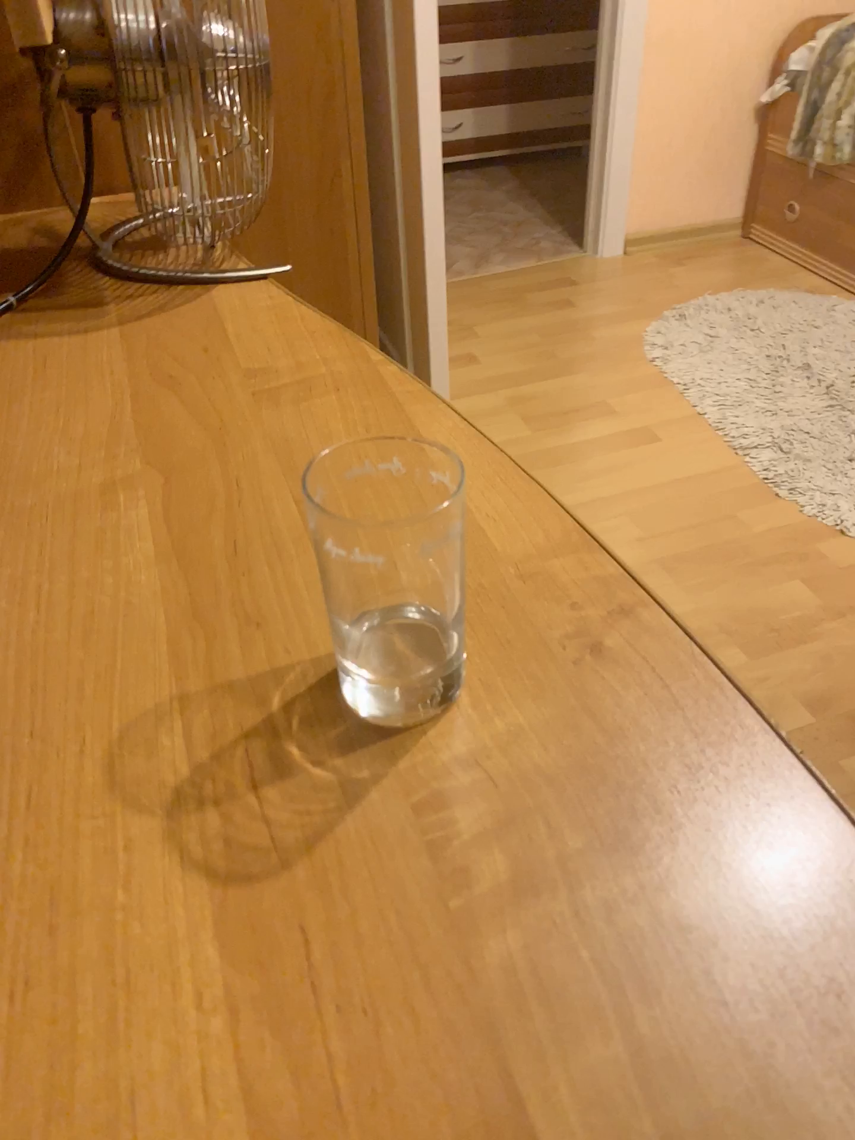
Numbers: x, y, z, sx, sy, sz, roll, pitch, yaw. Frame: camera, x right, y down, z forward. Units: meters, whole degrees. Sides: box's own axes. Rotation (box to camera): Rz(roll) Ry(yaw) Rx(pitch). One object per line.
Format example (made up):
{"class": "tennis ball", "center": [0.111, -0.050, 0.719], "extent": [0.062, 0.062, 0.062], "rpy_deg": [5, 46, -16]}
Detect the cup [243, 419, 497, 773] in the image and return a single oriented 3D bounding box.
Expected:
{"class": "cup", "center": [-0.016, 0.009, 0.318], "extent": [0.060, 0.099, 0.060], "rpy_deg": [-2, 39, 2]}
